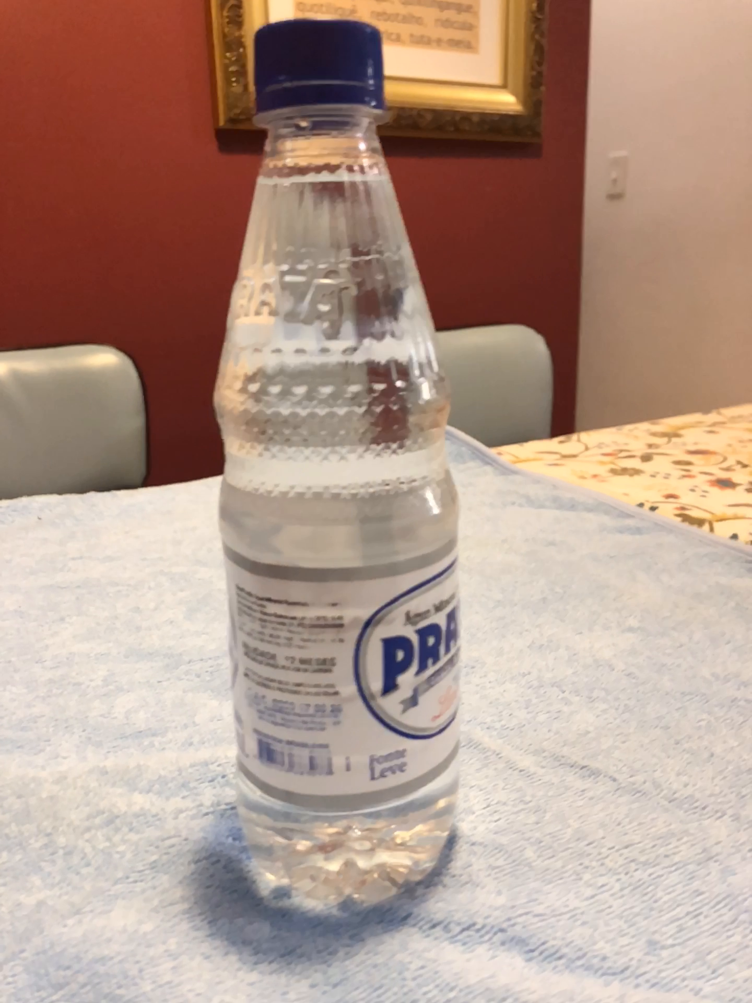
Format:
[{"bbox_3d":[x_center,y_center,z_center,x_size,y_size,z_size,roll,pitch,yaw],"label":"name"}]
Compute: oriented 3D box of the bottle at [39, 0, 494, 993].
[{"bbox_3d":[-0.017,-0.001,0.221,0.070,0.219,0.080,7,18,26],"label":"bottle"}]
